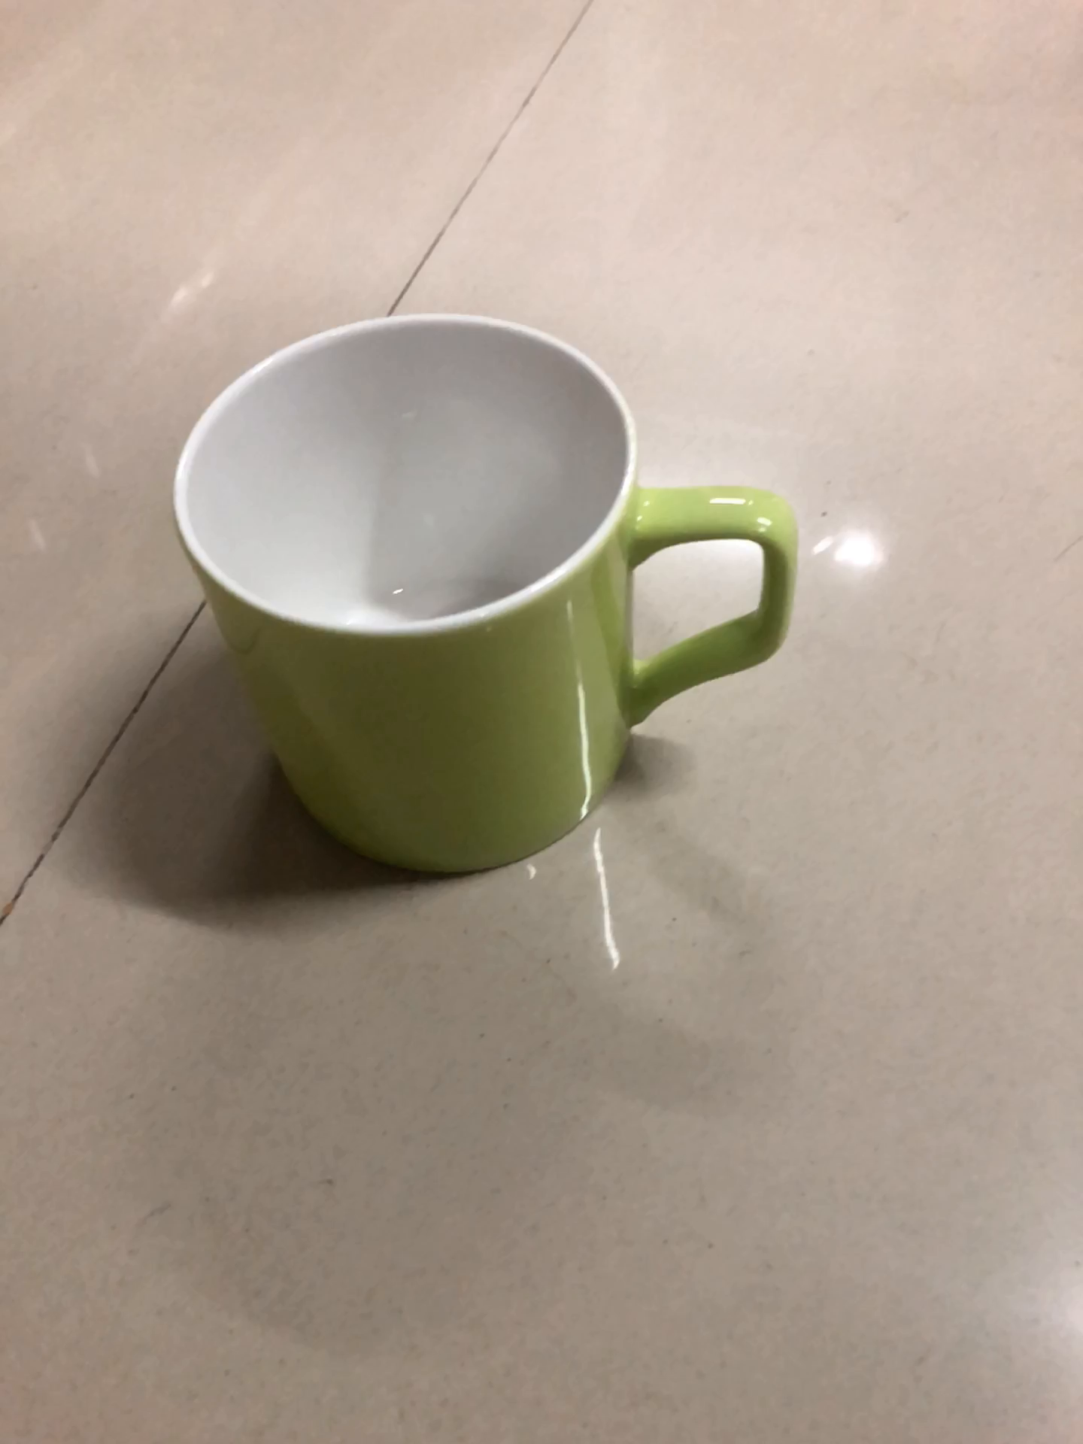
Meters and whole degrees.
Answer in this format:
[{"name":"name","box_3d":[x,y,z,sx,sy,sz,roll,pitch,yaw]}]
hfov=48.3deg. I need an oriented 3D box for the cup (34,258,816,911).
[{"name":"cup","box_3d":[-0.010,-0.022,0.204,0.100,0.080,0.070,3,54,7]}]
